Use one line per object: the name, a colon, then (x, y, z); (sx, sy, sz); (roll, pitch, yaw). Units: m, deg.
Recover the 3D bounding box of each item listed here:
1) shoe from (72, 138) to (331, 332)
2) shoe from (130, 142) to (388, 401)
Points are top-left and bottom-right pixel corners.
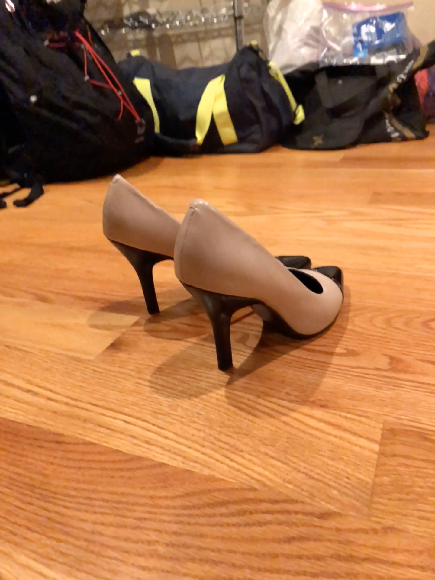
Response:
shoe: (-0.012, -0.064, 0.490); (0.235, 0.138, 0.085); (-12, 26, -16)
shoe: (0.053, -0.036, 0.420); (0.085, 0.138, 0.236); (17, 33, 38)
